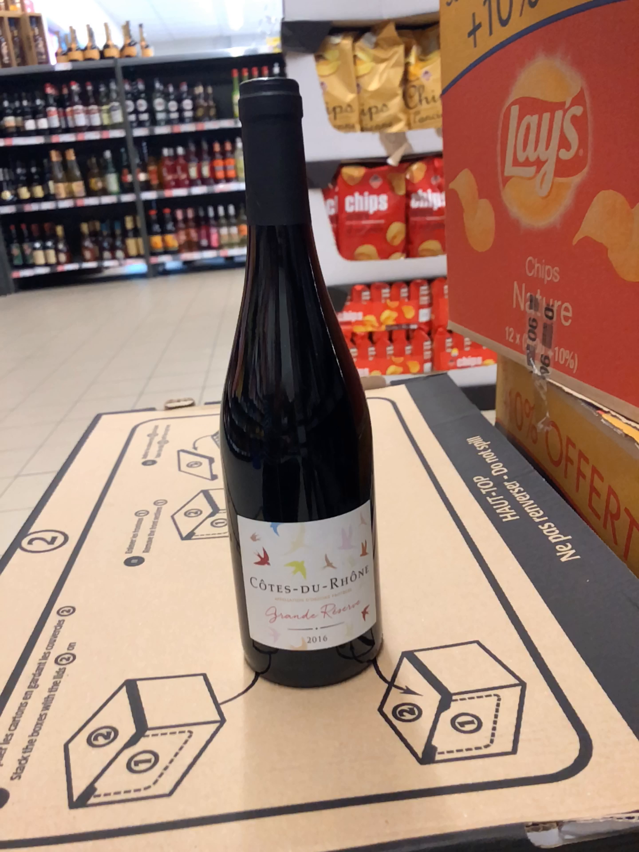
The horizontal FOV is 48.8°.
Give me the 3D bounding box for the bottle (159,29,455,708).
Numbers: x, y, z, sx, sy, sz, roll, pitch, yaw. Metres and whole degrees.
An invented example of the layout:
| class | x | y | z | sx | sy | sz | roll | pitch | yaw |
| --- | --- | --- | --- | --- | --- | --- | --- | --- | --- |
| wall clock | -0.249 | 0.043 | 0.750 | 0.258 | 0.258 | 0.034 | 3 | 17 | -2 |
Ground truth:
| class | x | y | z | sx | sy | sz | roll | pitch | yaw |
| --- | --- | --- | --- | --- | --- | --- | --- | --- | --- |
| bottle | -0.003 | -0.021 | 0.349 | 0.100 | 0.289 | 0.090 | -8 | 16 | -7 |
